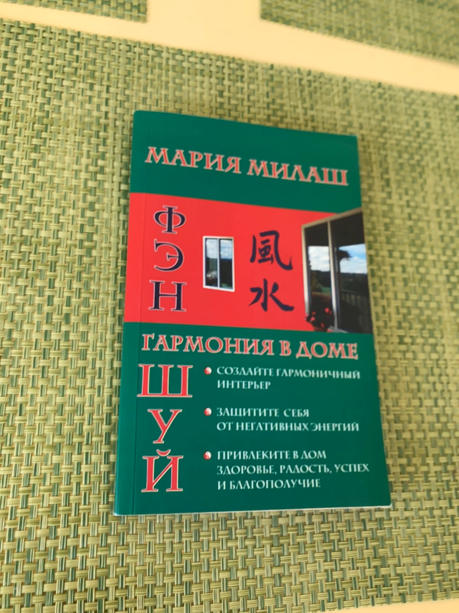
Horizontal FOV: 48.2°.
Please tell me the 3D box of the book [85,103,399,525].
[{"bbox_3d":[0.007,-0.003,0.257,0.137,0.020,0.200,3,73,-11],"label":"book"}]
